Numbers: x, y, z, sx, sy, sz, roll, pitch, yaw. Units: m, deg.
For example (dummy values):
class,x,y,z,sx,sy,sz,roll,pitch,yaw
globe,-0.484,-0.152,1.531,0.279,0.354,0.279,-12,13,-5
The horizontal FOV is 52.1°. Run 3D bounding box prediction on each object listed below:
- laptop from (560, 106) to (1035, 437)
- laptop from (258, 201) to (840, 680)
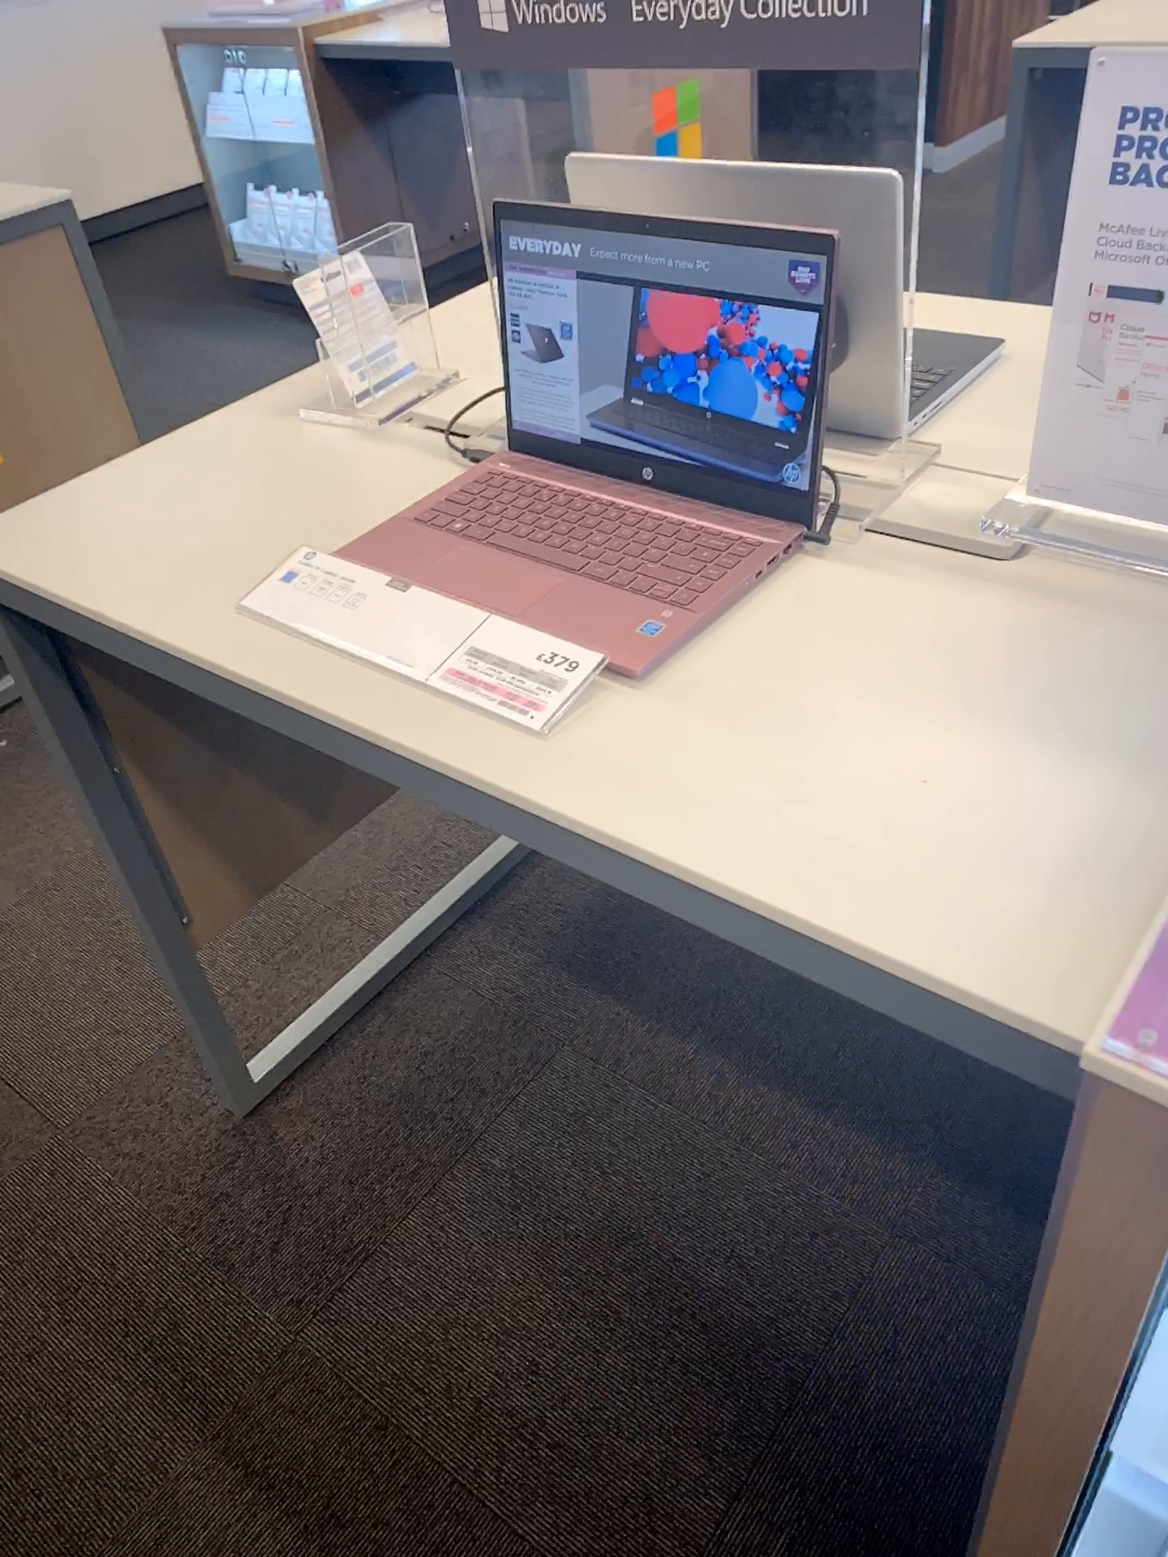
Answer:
class,x,y,z,sx,sy,sz,roll,pitch,yaw
laptop,0.188,-0.471,1.075,0.325,0.186,0.245,22,47,32
laptop,-0.018,-0.265,0.872,0.313,0.200,0.250,24,49,33
